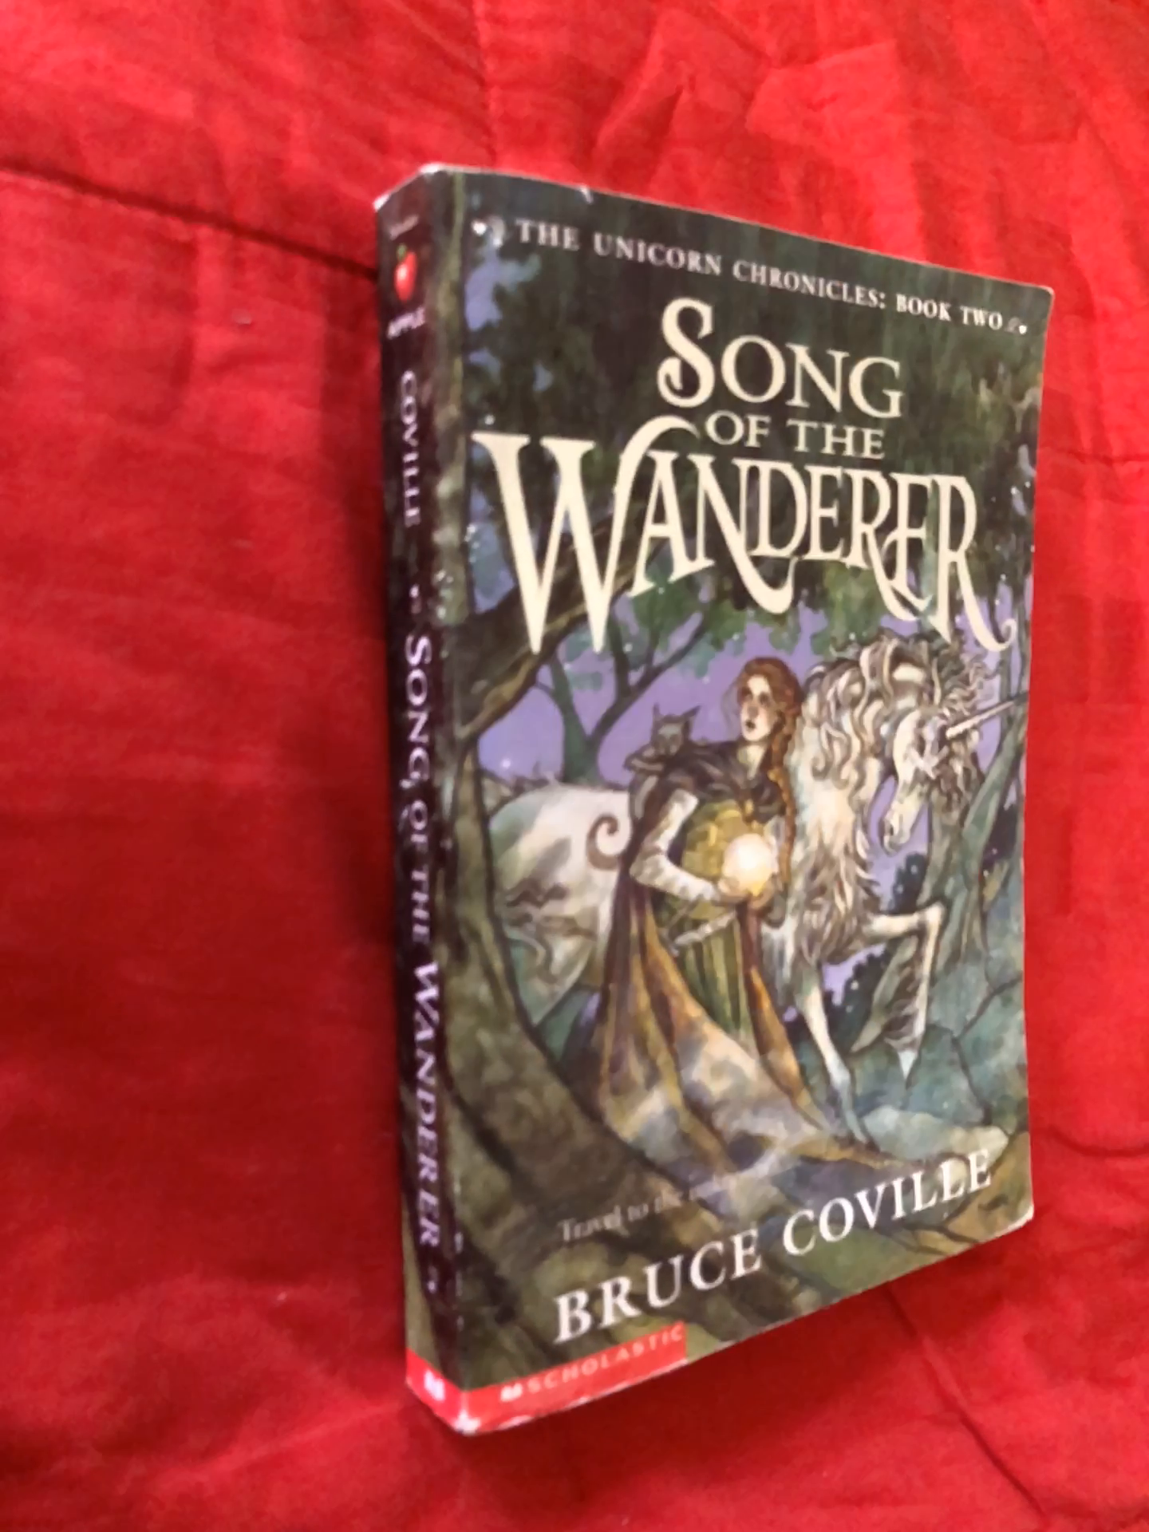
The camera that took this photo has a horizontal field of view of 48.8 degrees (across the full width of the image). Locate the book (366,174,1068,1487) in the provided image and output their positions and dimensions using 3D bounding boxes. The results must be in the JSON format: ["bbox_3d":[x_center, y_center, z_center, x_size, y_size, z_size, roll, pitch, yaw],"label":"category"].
[{"bbox_3d":[0.033,0.008,0.228,0.131,0.030,0.190,-5,96,-31],"label":"book"}]
